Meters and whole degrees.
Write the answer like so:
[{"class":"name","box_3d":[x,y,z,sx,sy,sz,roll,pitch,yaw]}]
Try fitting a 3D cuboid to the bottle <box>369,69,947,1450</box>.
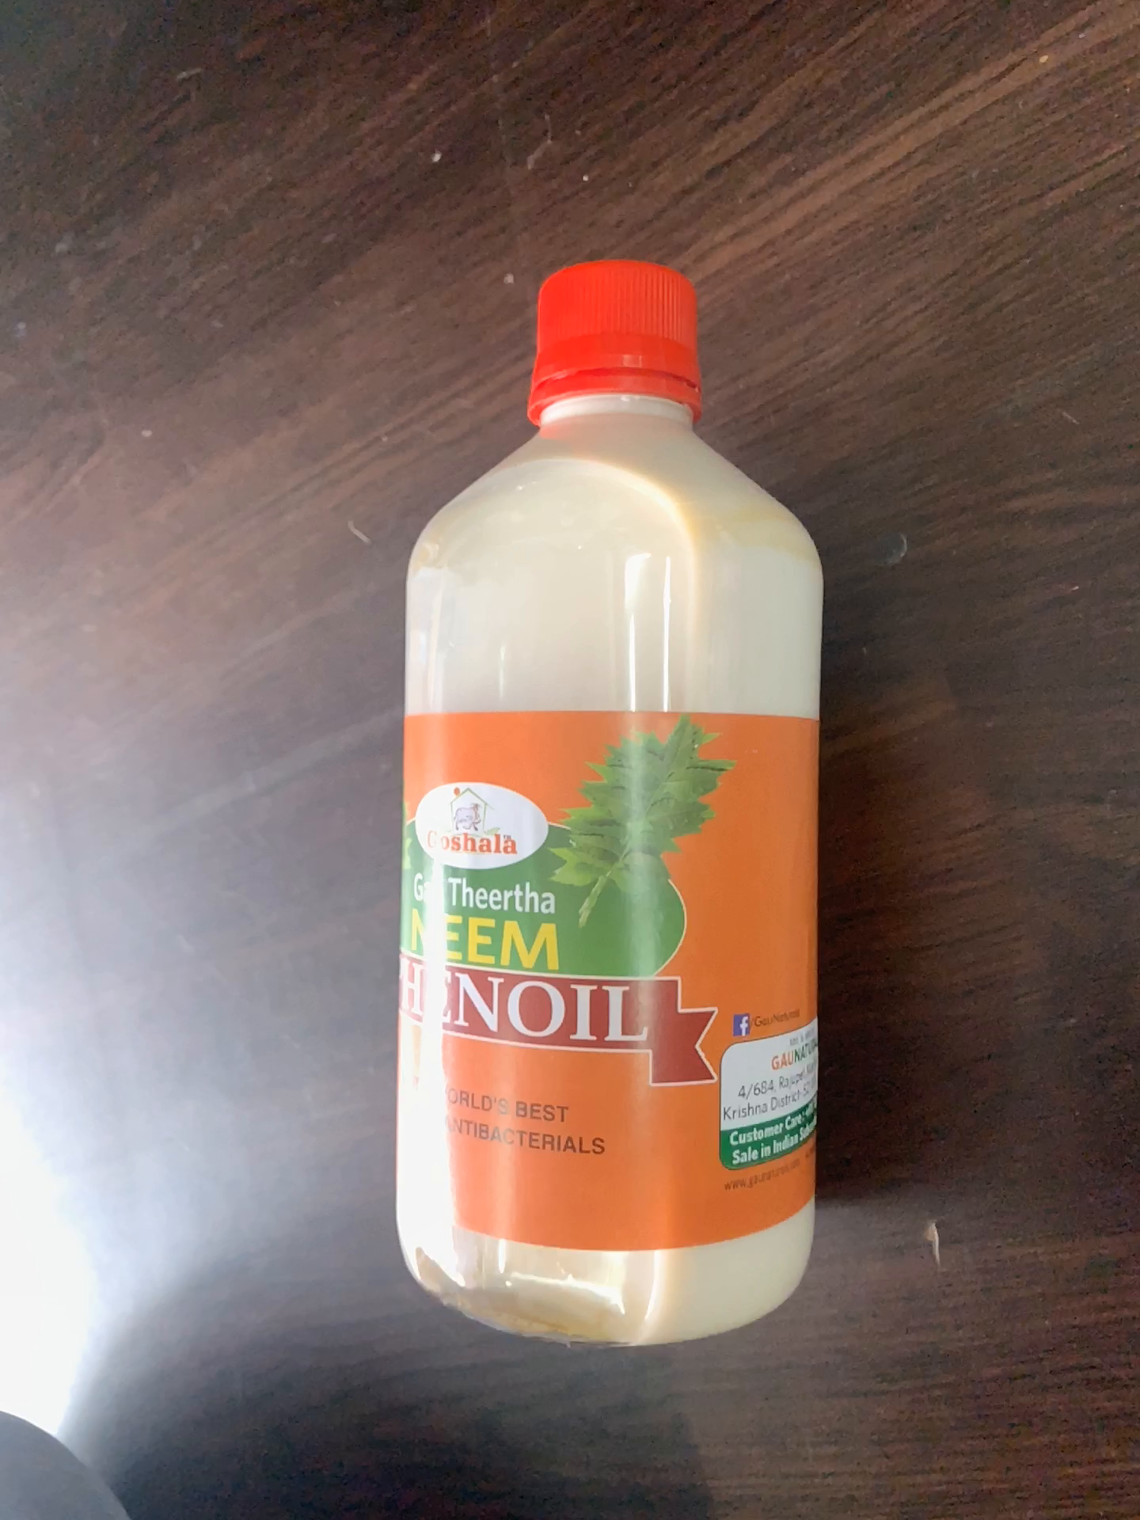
[{"class":"bottle","box_3d":[0.018,0.000,0.214,0.080,0.070,0.190,1,91,31]}]
